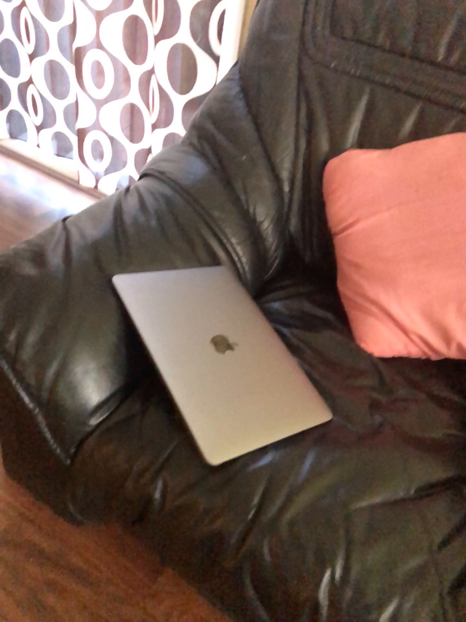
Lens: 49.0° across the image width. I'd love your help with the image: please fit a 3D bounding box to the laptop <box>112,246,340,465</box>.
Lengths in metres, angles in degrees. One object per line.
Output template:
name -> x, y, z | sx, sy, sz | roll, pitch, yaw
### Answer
laptop -> -0.012, 0.029, 0.615 | 0.186, 0.036, 0.265 | -8, 52, -39
